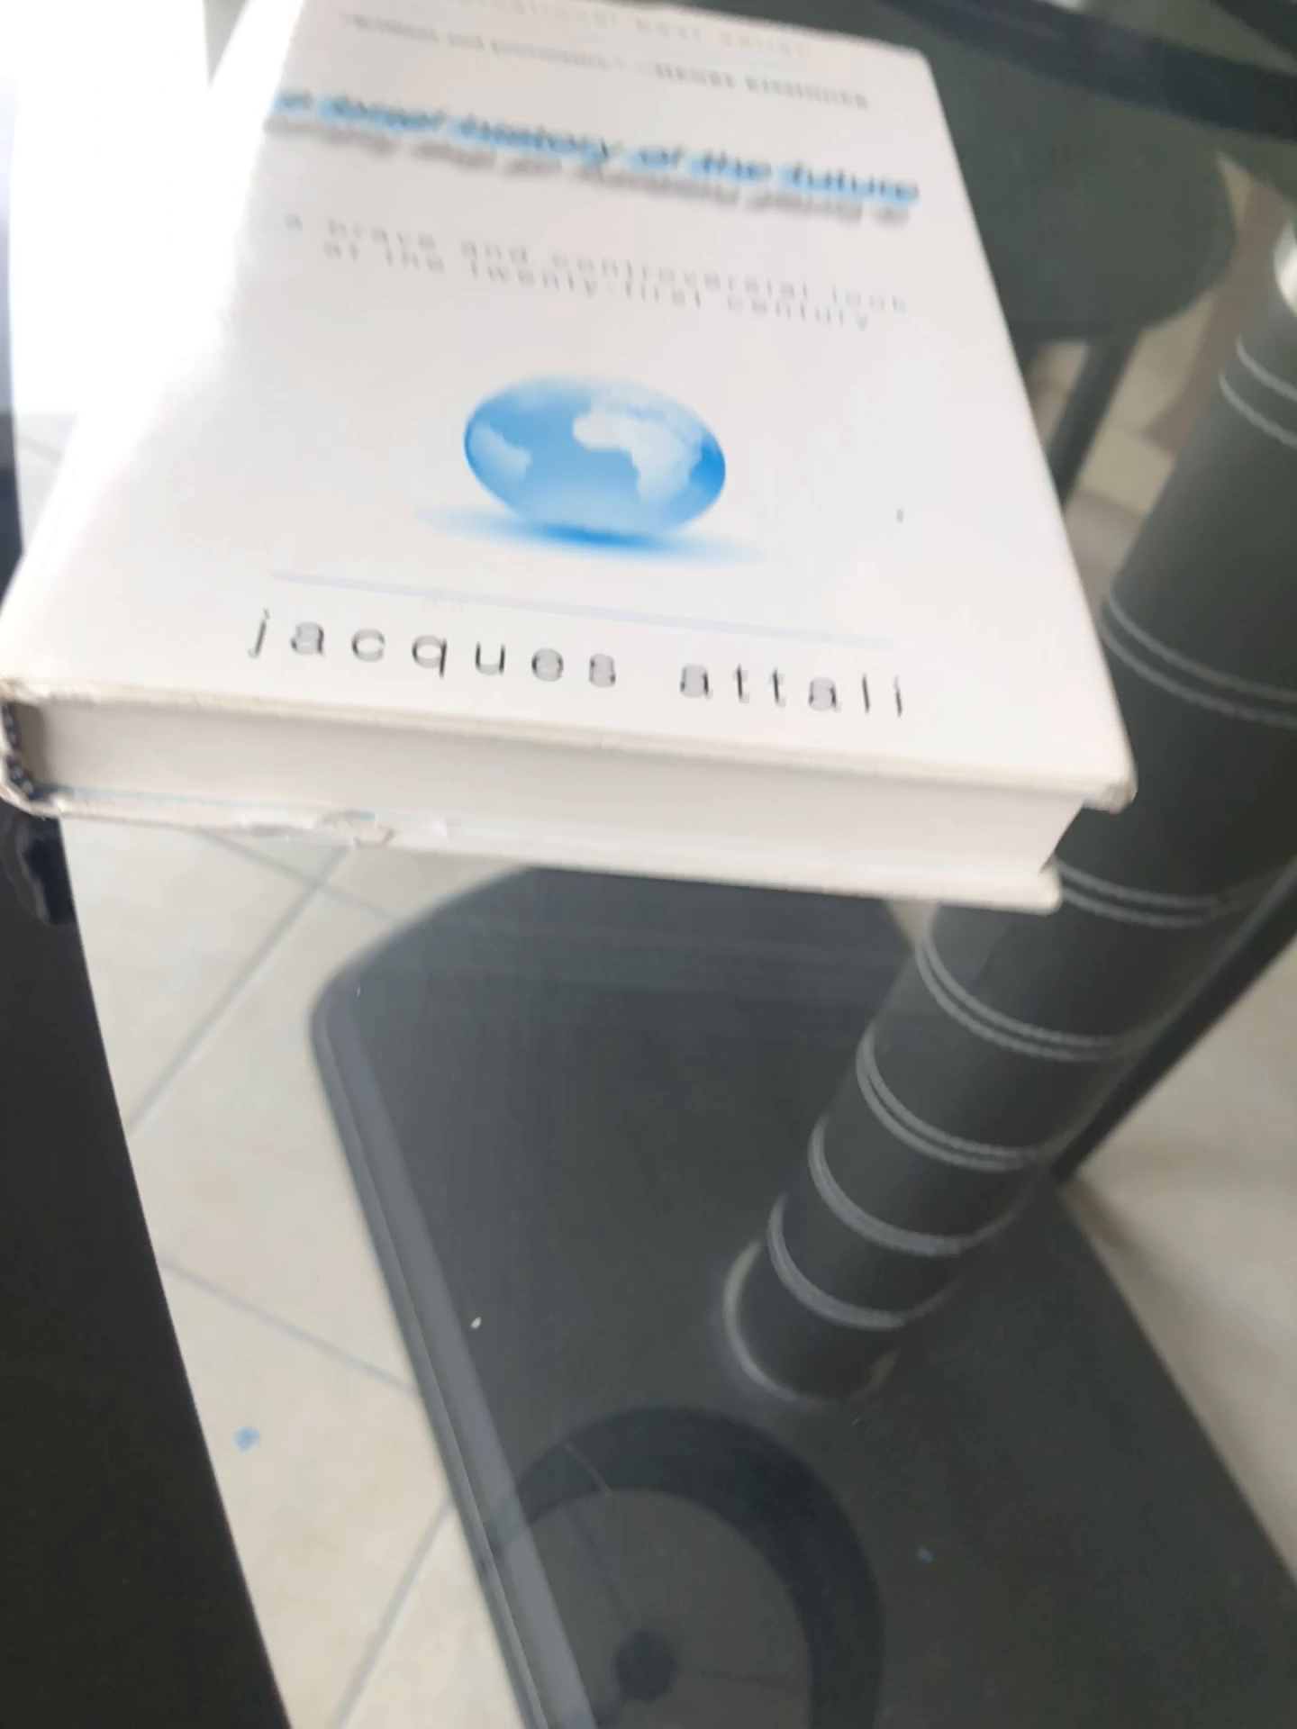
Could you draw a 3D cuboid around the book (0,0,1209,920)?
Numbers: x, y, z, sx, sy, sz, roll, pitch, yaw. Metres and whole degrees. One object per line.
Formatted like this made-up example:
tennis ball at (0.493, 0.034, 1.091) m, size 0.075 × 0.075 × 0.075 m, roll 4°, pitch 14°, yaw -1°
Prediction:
book at (-0.011, -0.095, 0.239) m, size 0.150 × 0.040 × 0.211 m, roll 6°, pitch 51°, yaw -7°
